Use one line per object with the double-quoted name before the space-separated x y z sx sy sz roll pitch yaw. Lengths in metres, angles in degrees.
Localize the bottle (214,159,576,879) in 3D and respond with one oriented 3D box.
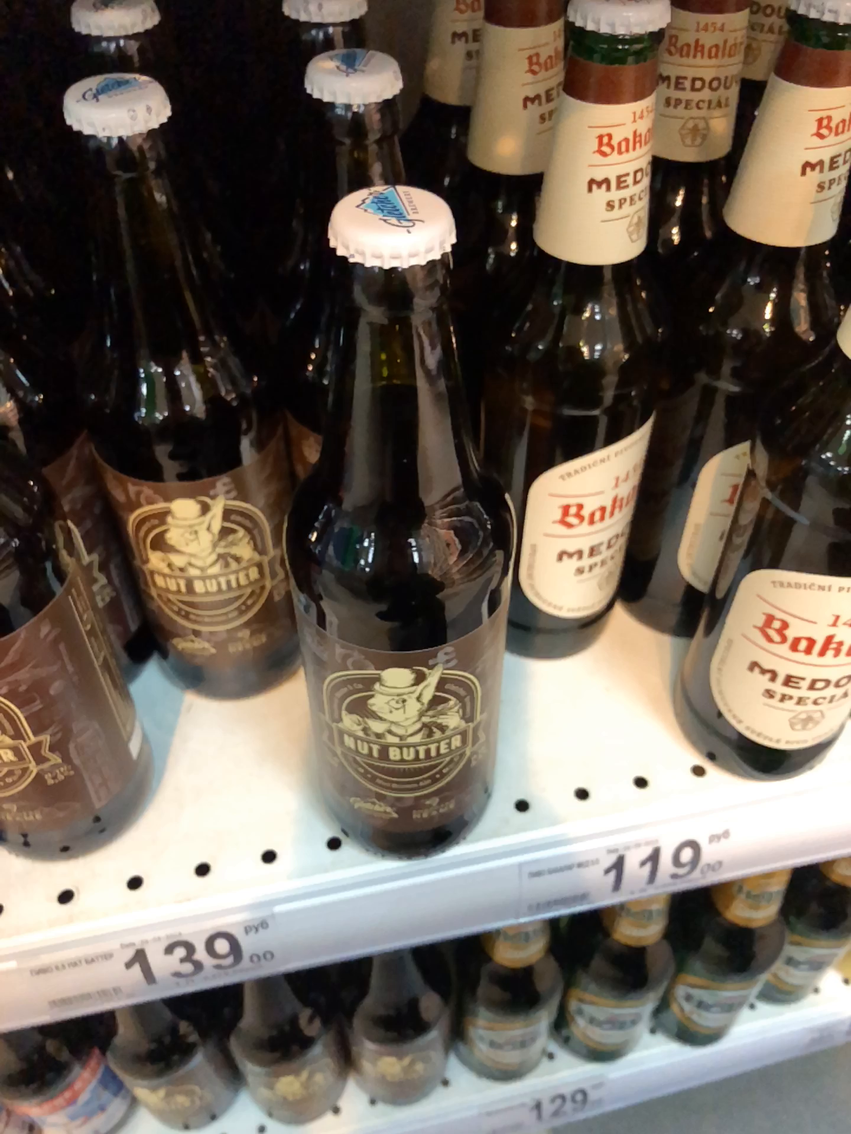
"bottle" -0.008 0.009 0.291 0.070 0.240 0.060 -4 46 -4
